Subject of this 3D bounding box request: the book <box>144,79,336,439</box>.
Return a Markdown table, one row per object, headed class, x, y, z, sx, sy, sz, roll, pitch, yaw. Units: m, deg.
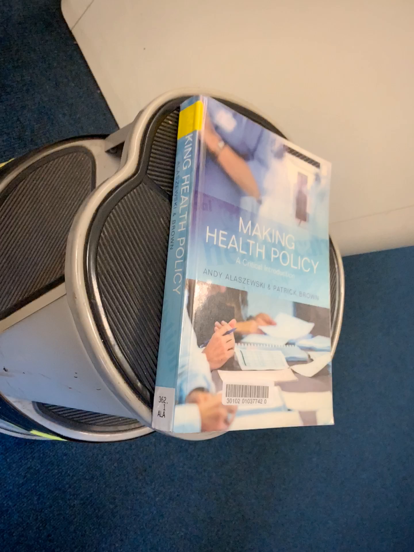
| class | x | y | z | sx | sy | sz | roll | pitch | yaw |
| --- | --- | --- | --- | --- | --- | --- | --- | --- | --- |
| book | 0.039 | -0.006 | 0.334 | 0.161 | 0.030 | 0.240 | 14 | 73 | -37 |
